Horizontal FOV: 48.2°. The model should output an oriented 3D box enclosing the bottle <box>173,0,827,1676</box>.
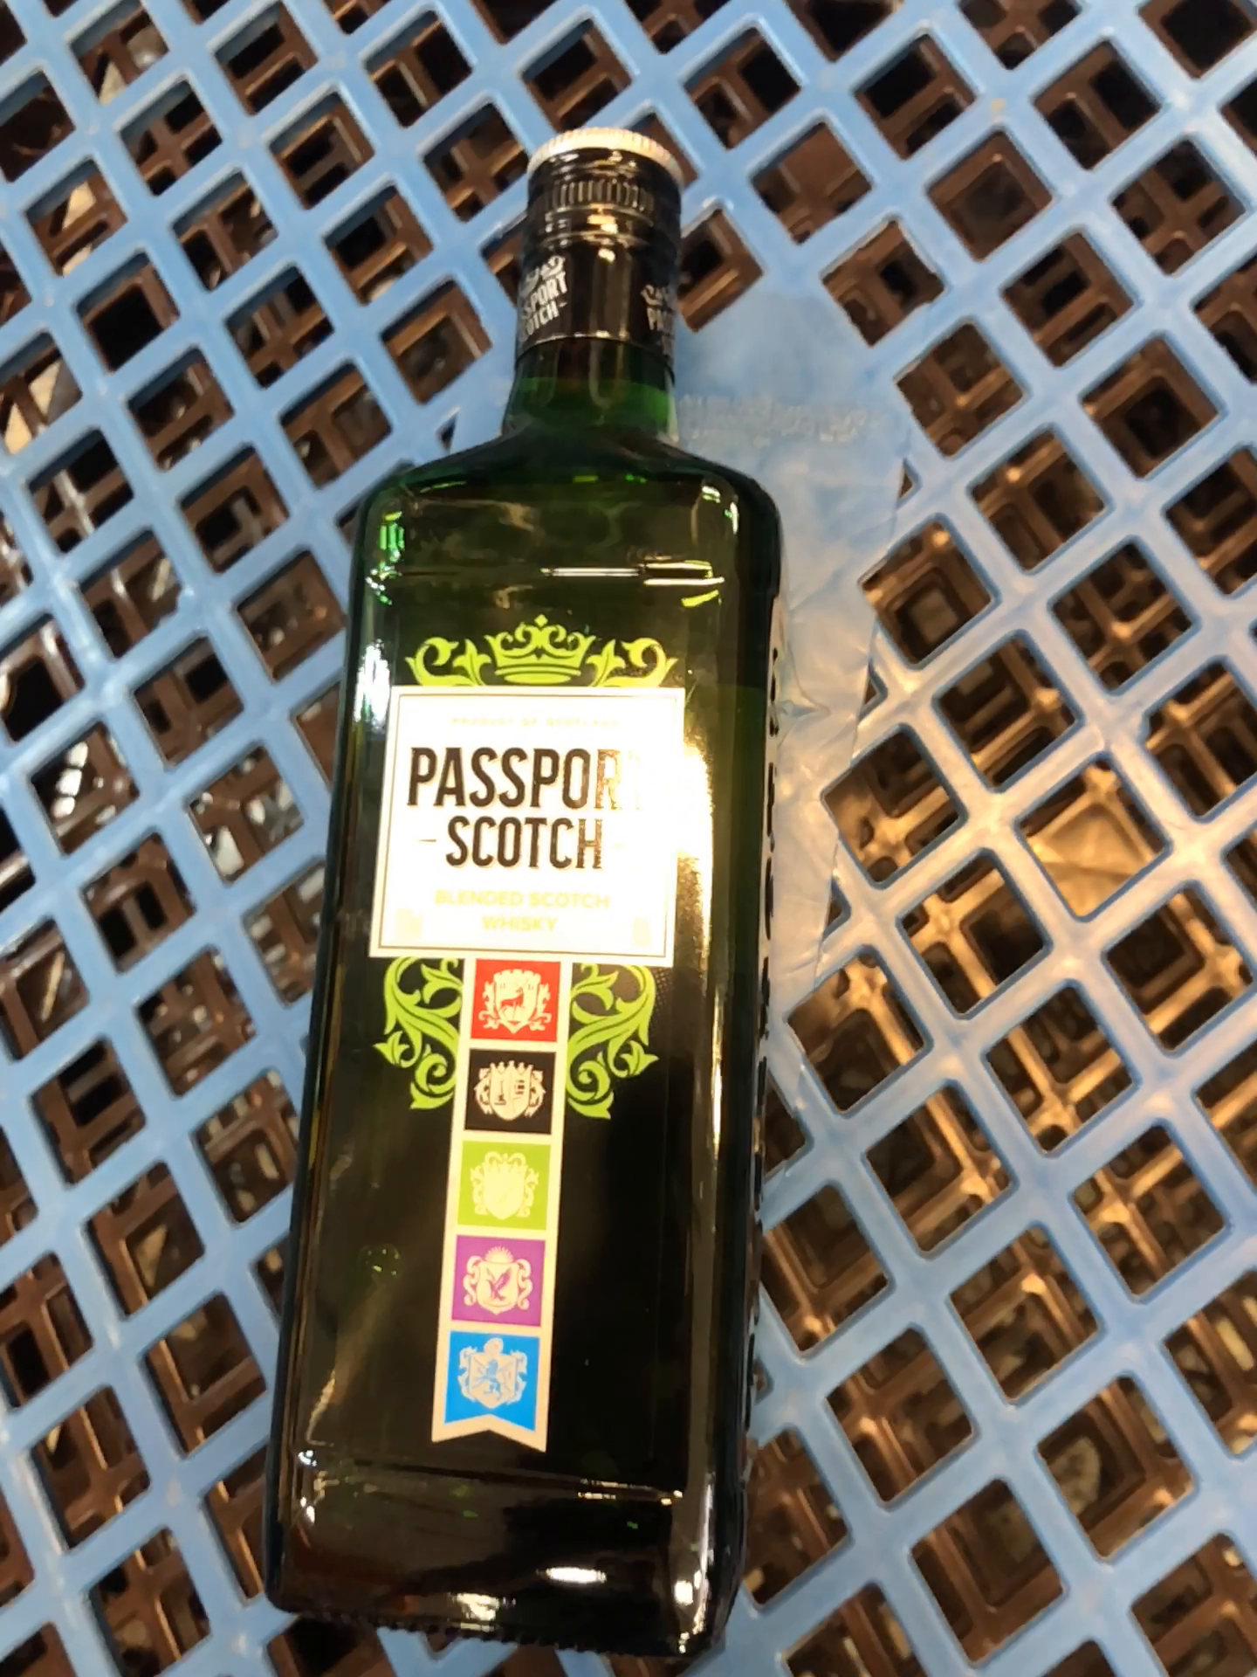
[{"bbox_3d":[-0.011,-0.017,0.247,0.080,0.070,0.280,1,80,11],"label":"bottle"}]
